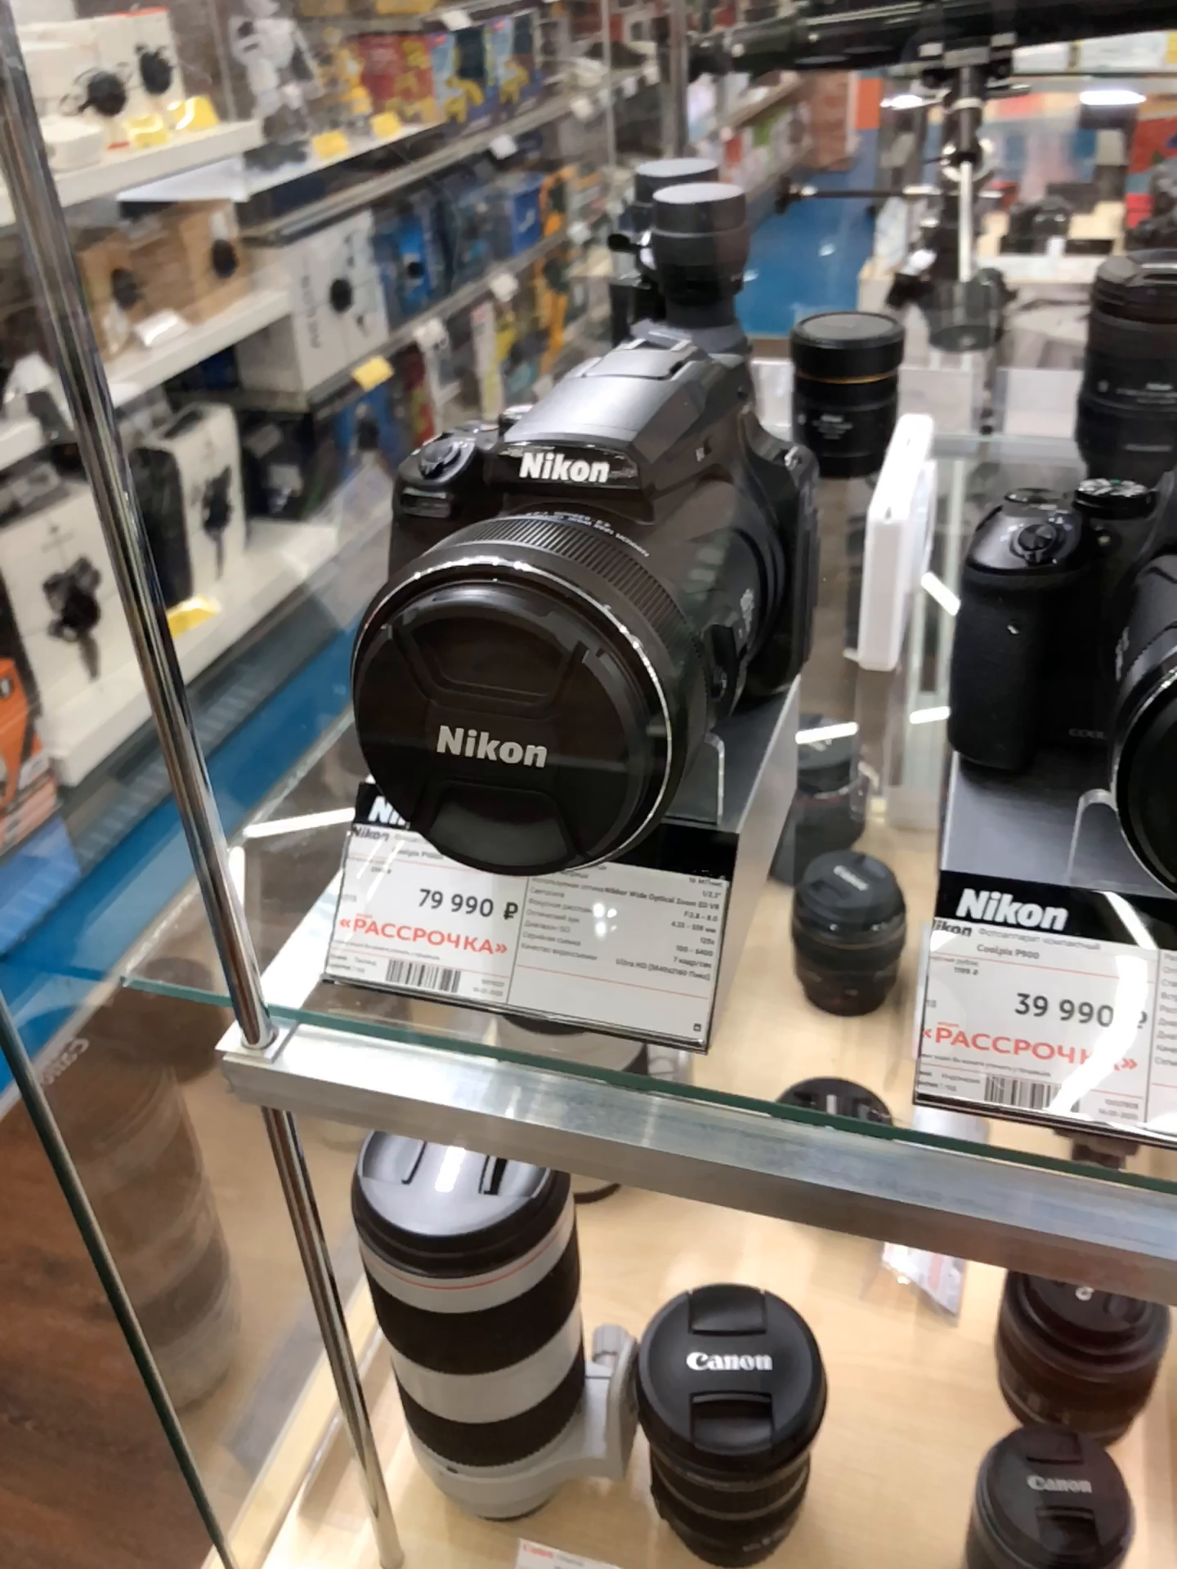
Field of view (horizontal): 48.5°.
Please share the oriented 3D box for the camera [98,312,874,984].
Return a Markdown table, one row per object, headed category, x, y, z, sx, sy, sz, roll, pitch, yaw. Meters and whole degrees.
| category | x | y | z | sx | sy | sz | roll | pitch | yaw |
| --- | --- | --- | --- | --- | --- | --- | --- | --- | --- |
| camera | -0.010 | -0.061 | 0.408 | 0.160 | 0.113 | 0.201 | 8 | 35 | 17 |
